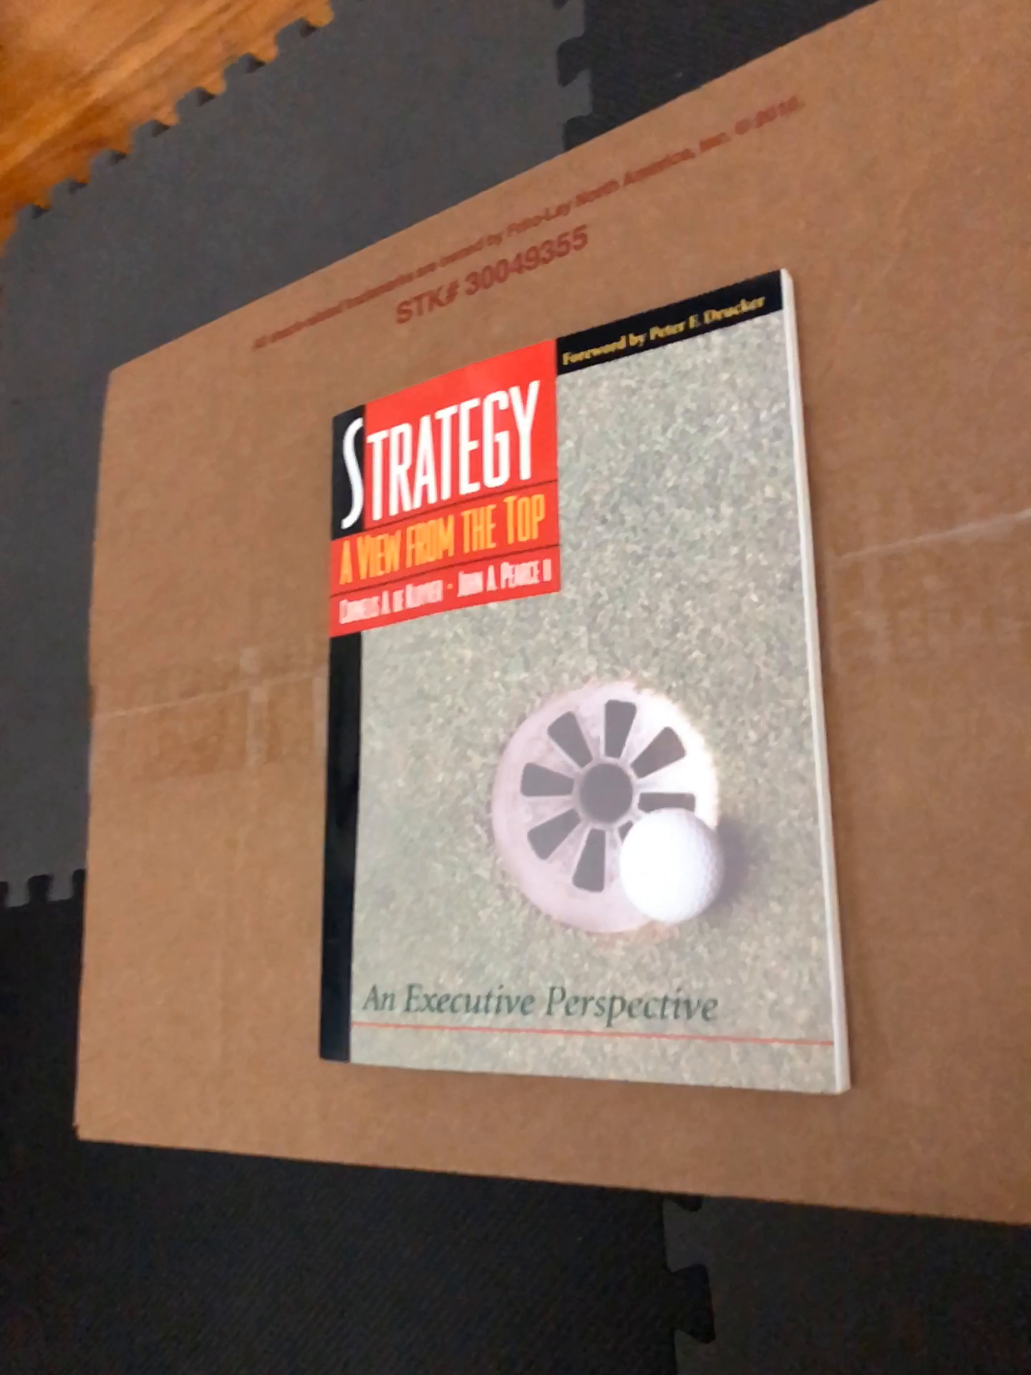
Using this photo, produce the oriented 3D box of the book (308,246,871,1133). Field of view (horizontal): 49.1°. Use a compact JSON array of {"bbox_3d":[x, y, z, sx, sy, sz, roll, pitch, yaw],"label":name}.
[{"bbox_3d":[0.010,0.003,0.357,0.180,0.020,0.240,-8,76,33],"label":"book"}]
